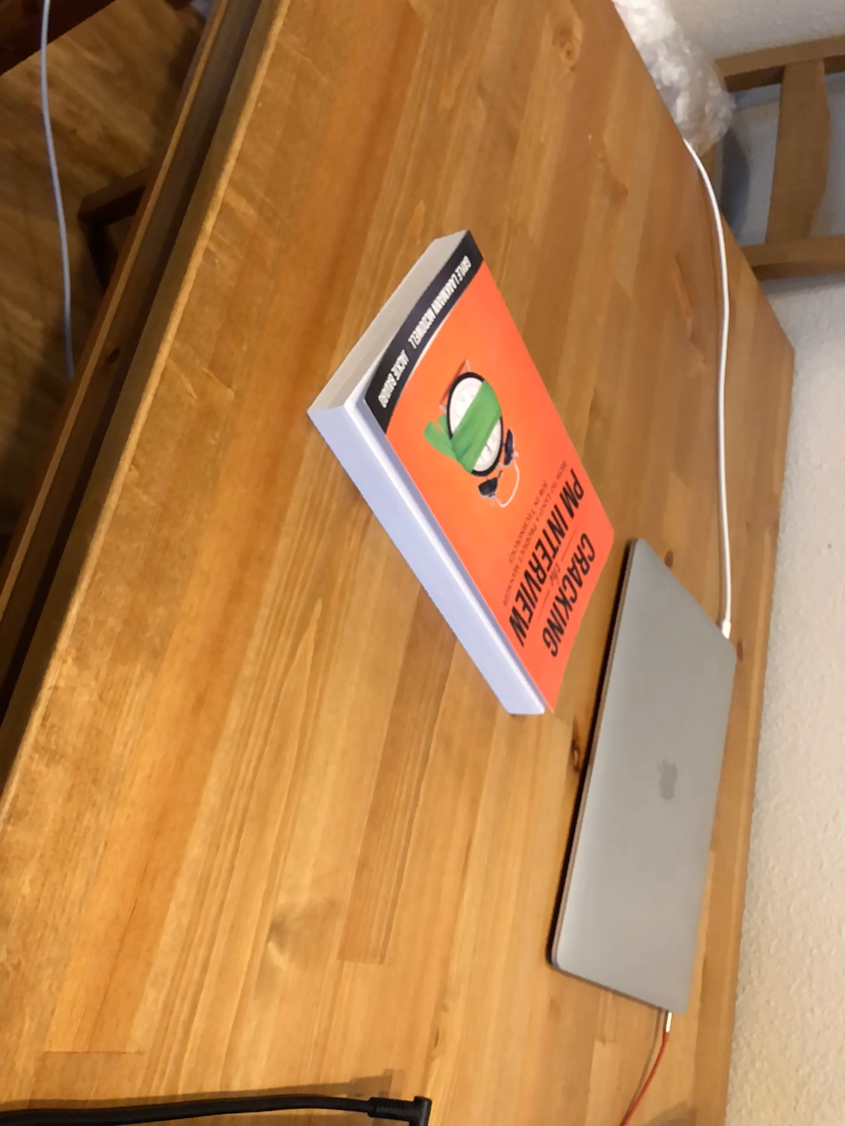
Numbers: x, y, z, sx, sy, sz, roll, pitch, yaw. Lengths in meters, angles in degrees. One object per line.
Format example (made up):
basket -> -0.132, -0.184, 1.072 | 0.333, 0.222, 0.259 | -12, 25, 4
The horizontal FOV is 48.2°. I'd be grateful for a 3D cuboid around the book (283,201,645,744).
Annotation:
book -> 0.043, -0.041, 0.522 | 0.251, 0.040, 0.160 | 57, 46, -34
